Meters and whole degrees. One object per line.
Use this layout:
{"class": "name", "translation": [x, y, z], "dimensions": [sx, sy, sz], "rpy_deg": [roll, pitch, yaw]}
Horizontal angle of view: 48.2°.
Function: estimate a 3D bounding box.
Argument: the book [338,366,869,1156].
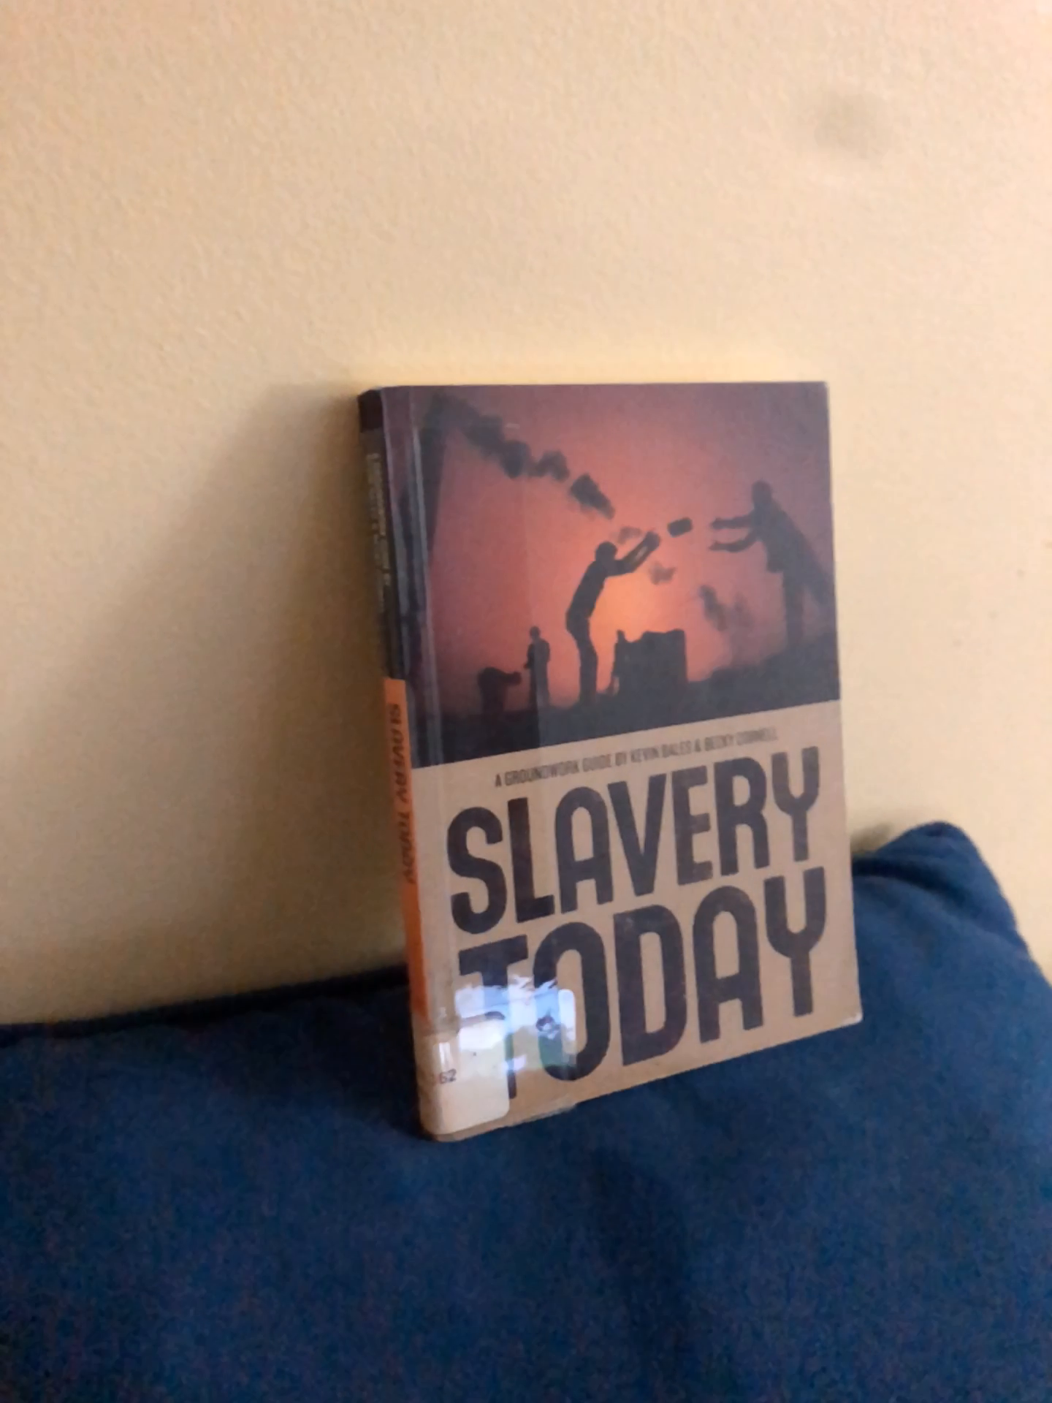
{"class": "book", "translation": [0.026, 0.008, 0.307], "dimensions": [0.128, 0.182, 0.028], "rpy_deg": [-8, 7, -24]}
